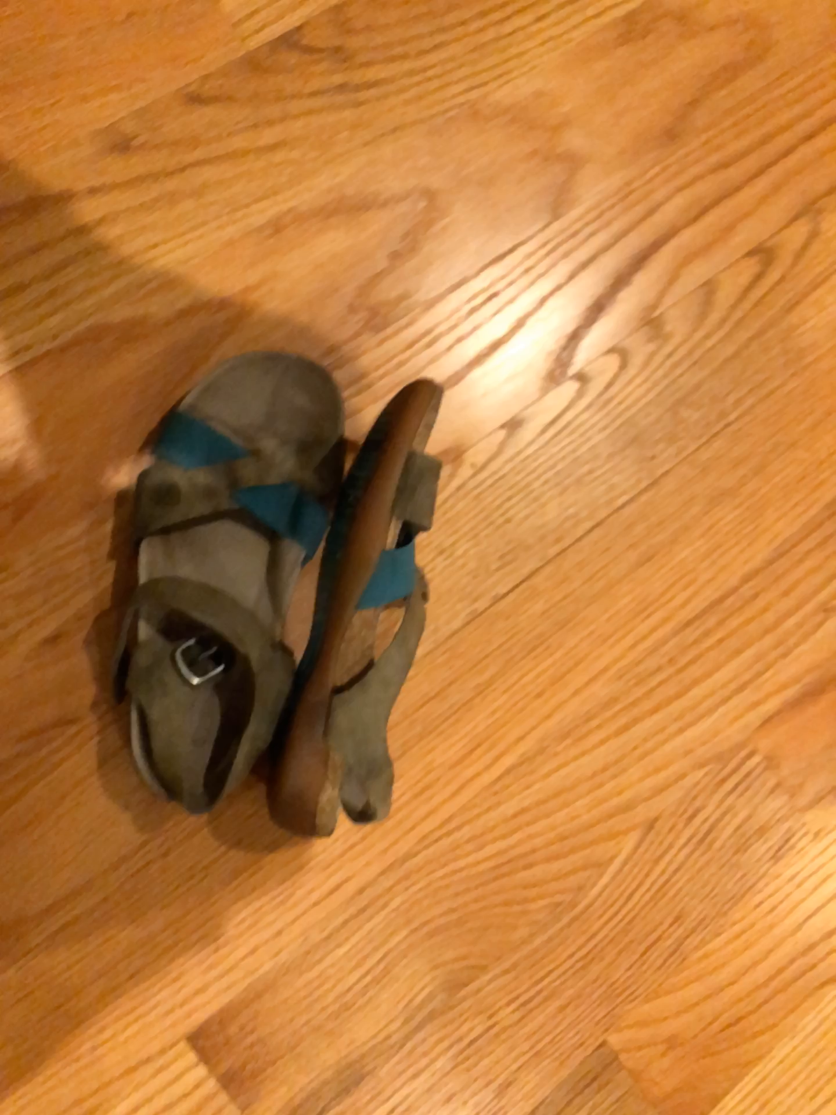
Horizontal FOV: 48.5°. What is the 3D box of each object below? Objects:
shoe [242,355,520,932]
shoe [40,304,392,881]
[{"bbox_3d":[-0.022,0.038,0.447,0.065,0.104,0.238,13,84,-15],"label":"shoe"},{"bbox_3d":[-0.095,0.018,0.448,0.104,0.075,0.240,13,84,-15],"label":"shoe"}]
